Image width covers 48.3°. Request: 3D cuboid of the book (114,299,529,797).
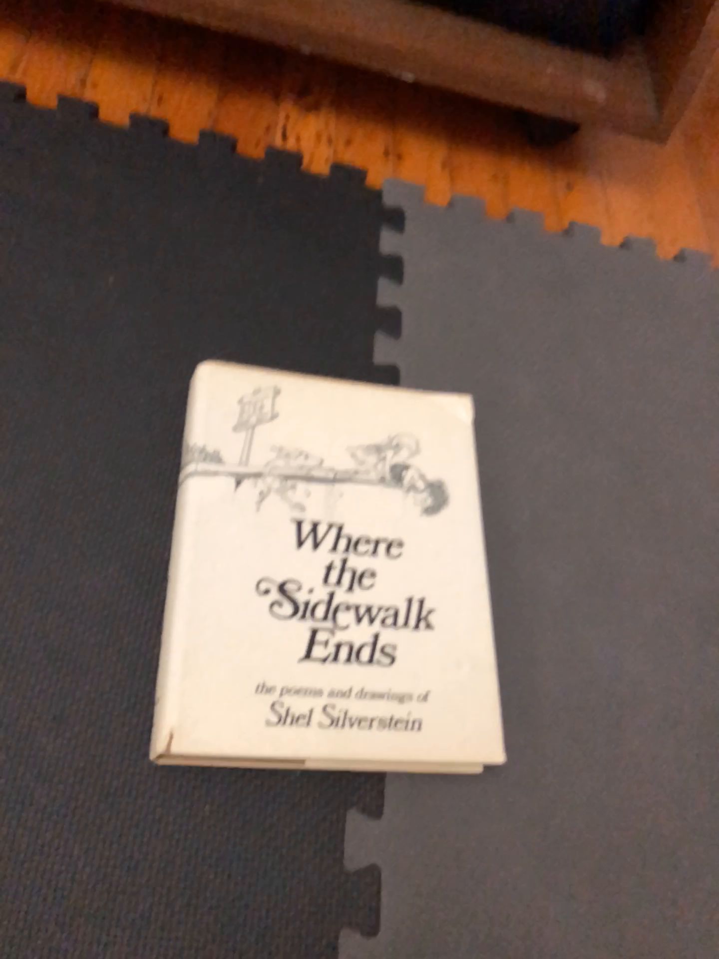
[{"bbox_3d":[-0.017,0.028,0.463,0.200,0.030,0.281,7,59,-12],"label":"book"}]
